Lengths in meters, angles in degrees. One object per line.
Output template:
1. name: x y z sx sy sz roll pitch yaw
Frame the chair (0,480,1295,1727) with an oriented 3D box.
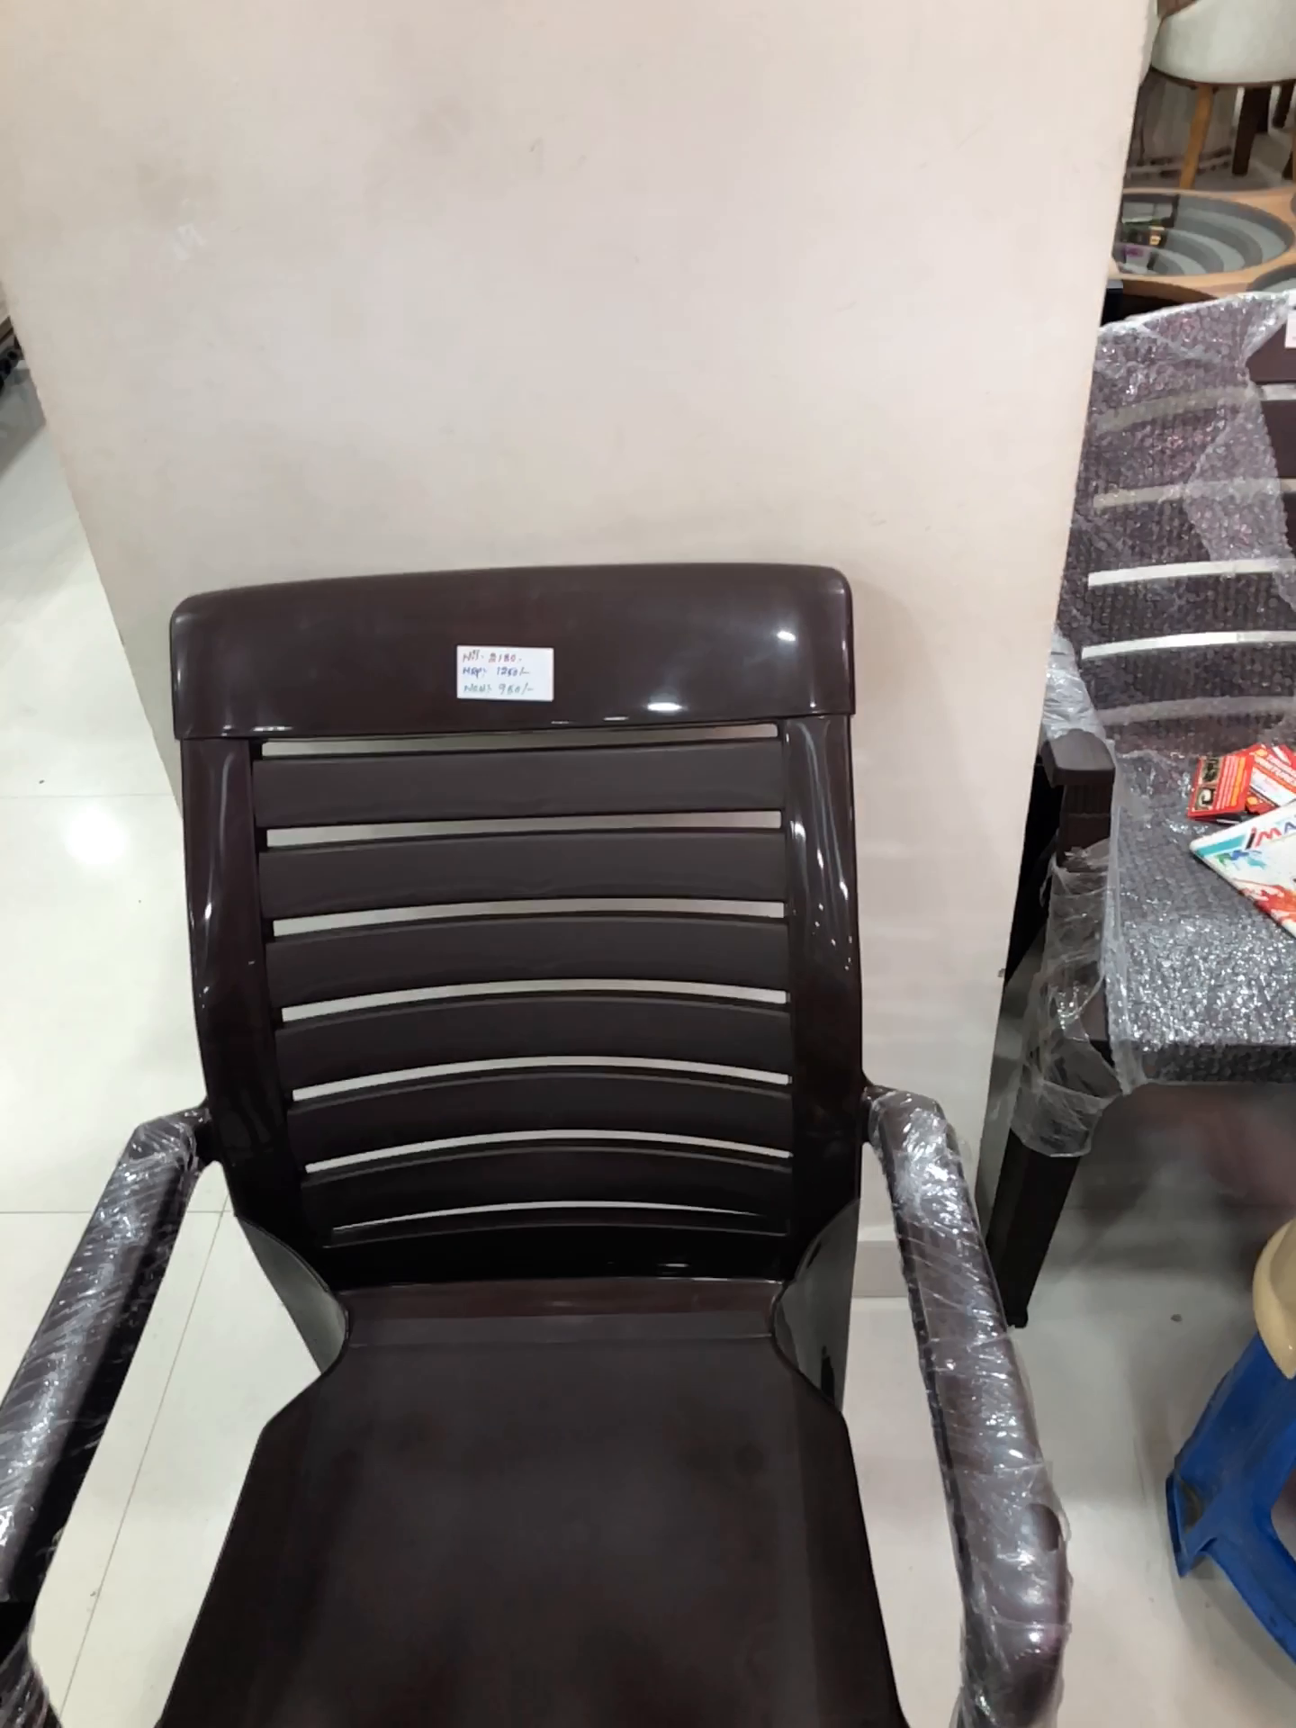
1. chair: -0.077 0.368 0.948 0.640 1.005 0.673 -1 37 2
